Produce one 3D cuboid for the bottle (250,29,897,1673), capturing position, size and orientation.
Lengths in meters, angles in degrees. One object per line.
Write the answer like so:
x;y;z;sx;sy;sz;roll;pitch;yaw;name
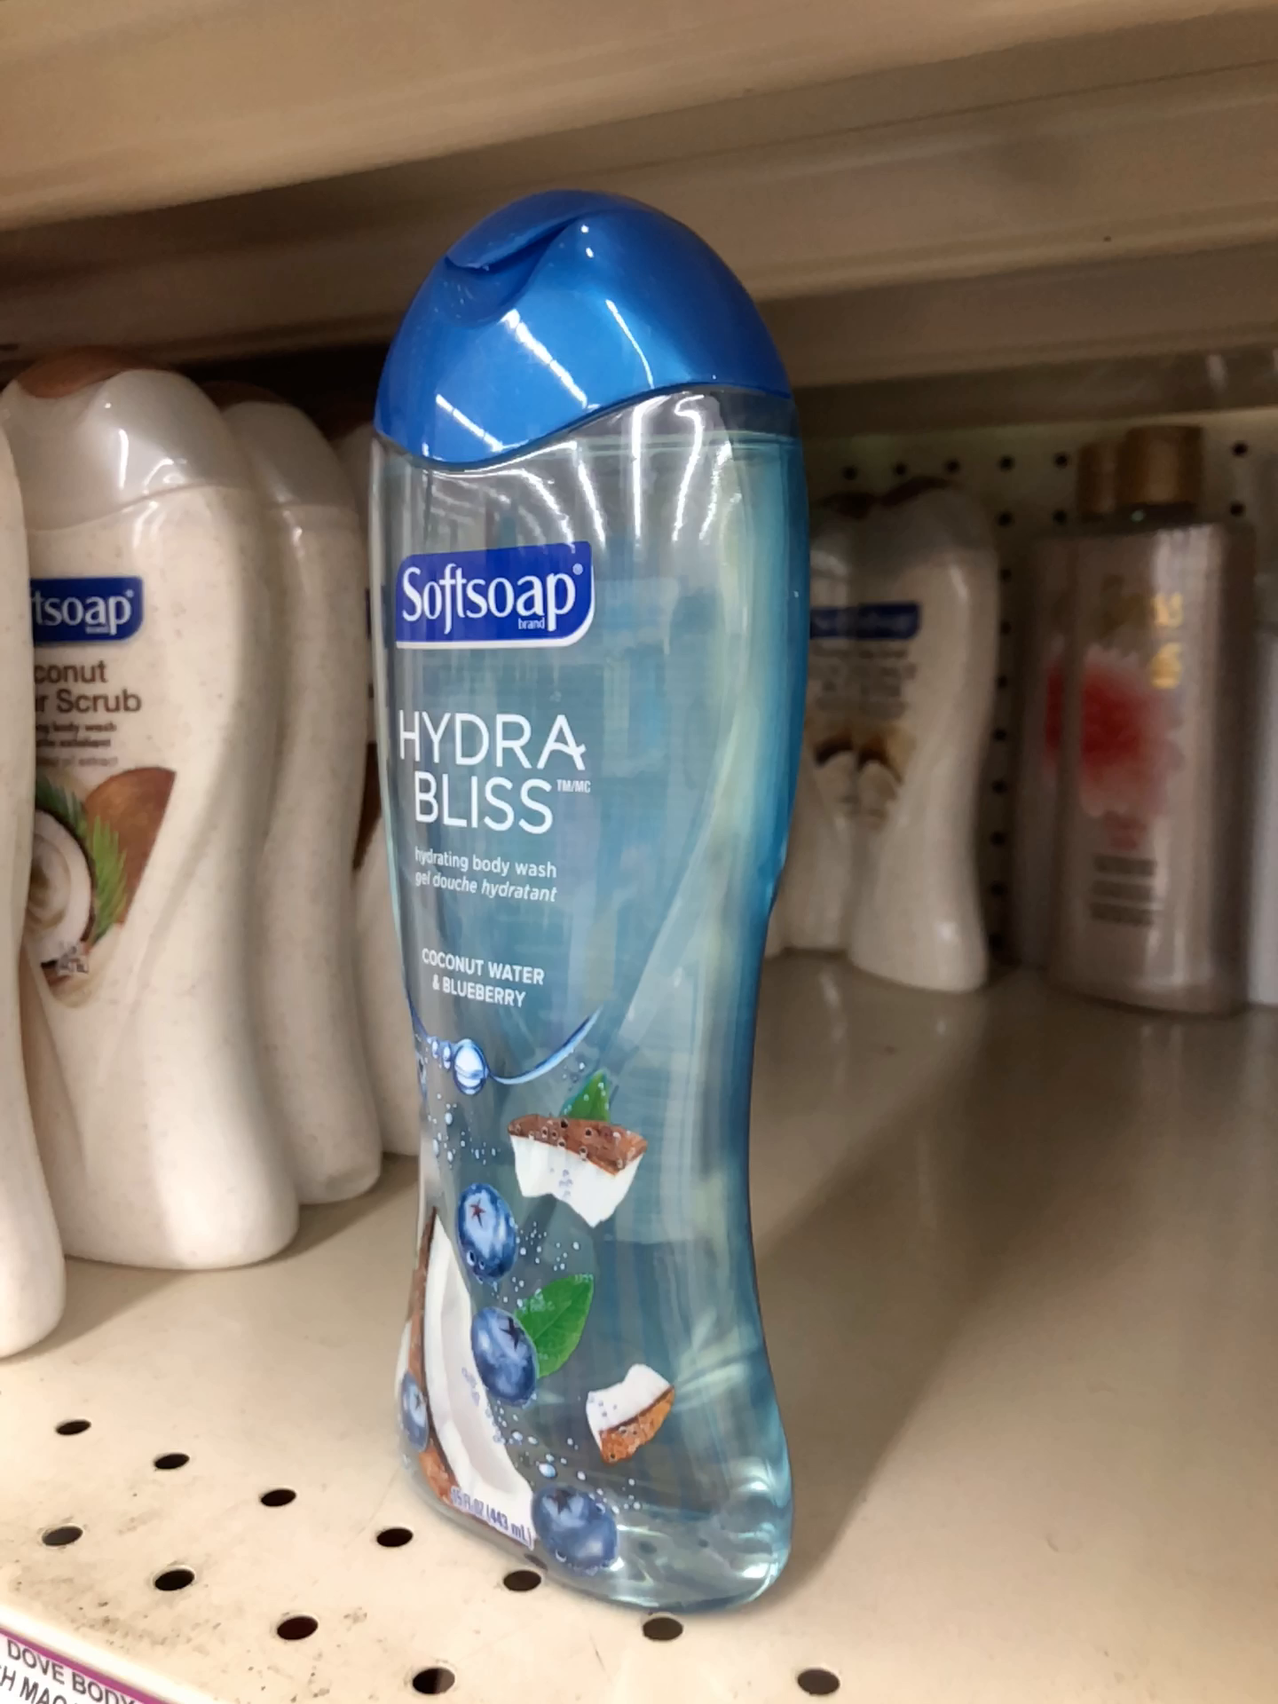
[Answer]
-0.009;0.002;0.226;0.080;0.211;0.051;7;12;38;bottle
